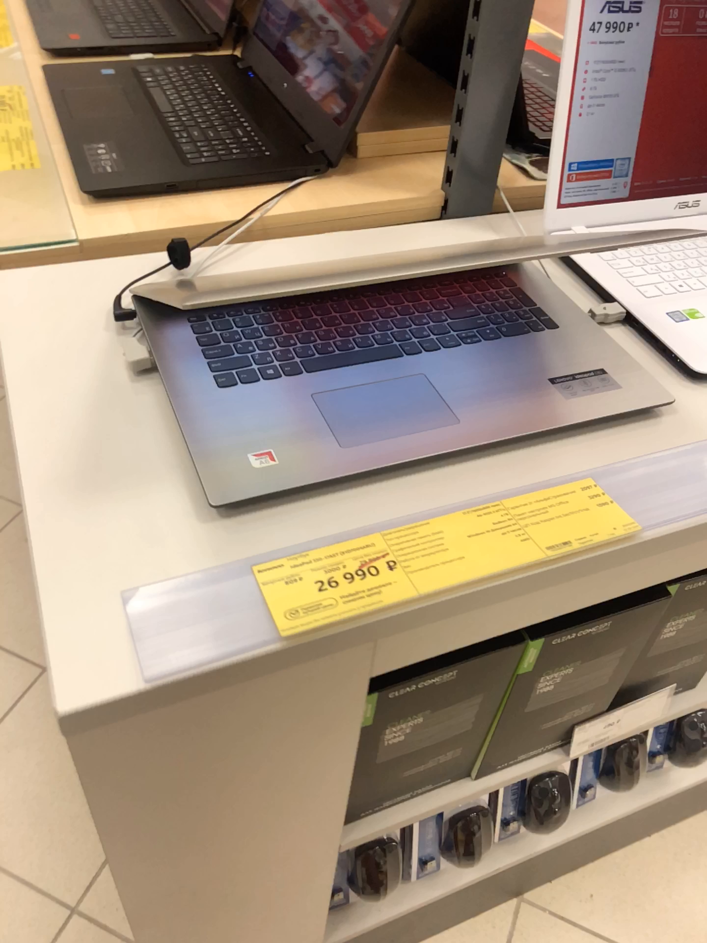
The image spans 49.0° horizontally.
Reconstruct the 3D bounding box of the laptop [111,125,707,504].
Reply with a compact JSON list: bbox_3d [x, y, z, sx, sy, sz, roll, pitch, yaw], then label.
[{"bbox_3d":[0.038,-0.157,0.639,0.398,0.129,0.277,-13,46,-19],"label":"laptop"}]
